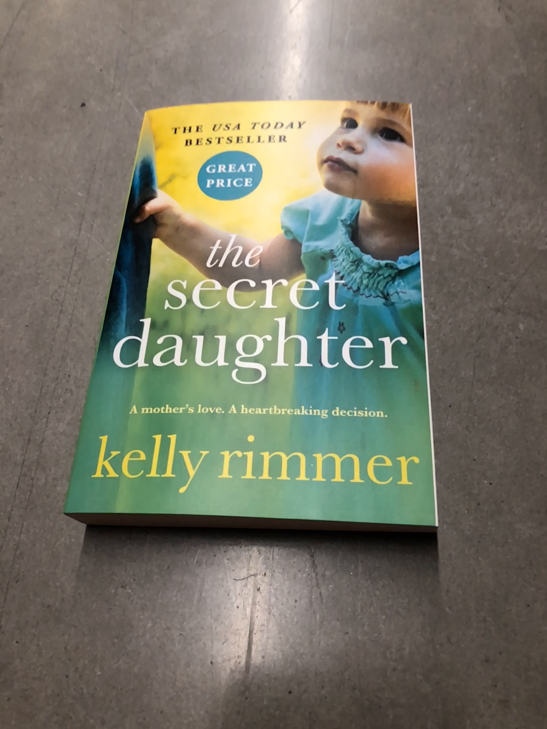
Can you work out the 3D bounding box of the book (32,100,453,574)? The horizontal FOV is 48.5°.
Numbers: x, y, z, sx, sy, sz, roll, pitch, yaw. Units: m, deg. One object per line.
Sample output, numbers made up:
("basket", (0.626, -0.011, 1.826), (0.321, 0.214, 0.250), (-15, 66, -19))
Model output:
("book", (-0.006, -0.026, 0.260), (0.140, 0.030, 0.211), (1, 63, 6))
